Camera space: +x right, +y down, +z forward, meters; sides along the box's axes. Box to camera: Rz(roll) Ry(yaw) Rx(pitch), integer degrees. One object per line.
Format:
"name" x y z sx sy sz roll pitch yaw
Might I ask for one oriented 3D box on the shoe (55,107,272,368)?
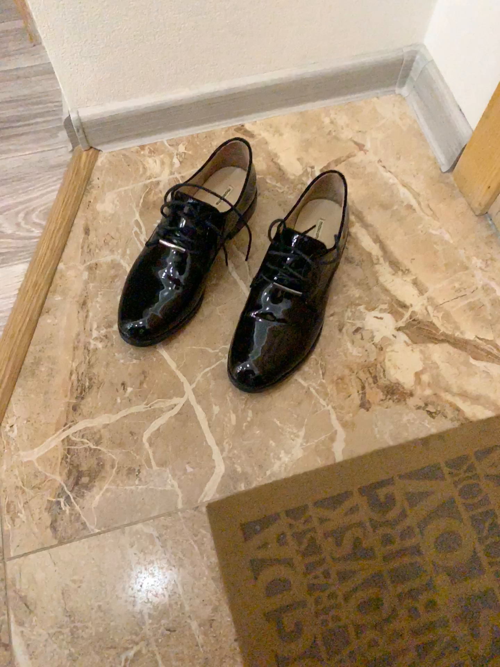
"shoe" -0.073 -0.098 0.524 0.086 0.110 0.230 28 68 12

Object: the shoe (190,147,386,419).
"shoe" 0.040 -0.050 0.506 0.090 0.110 0.230 23 67 10
